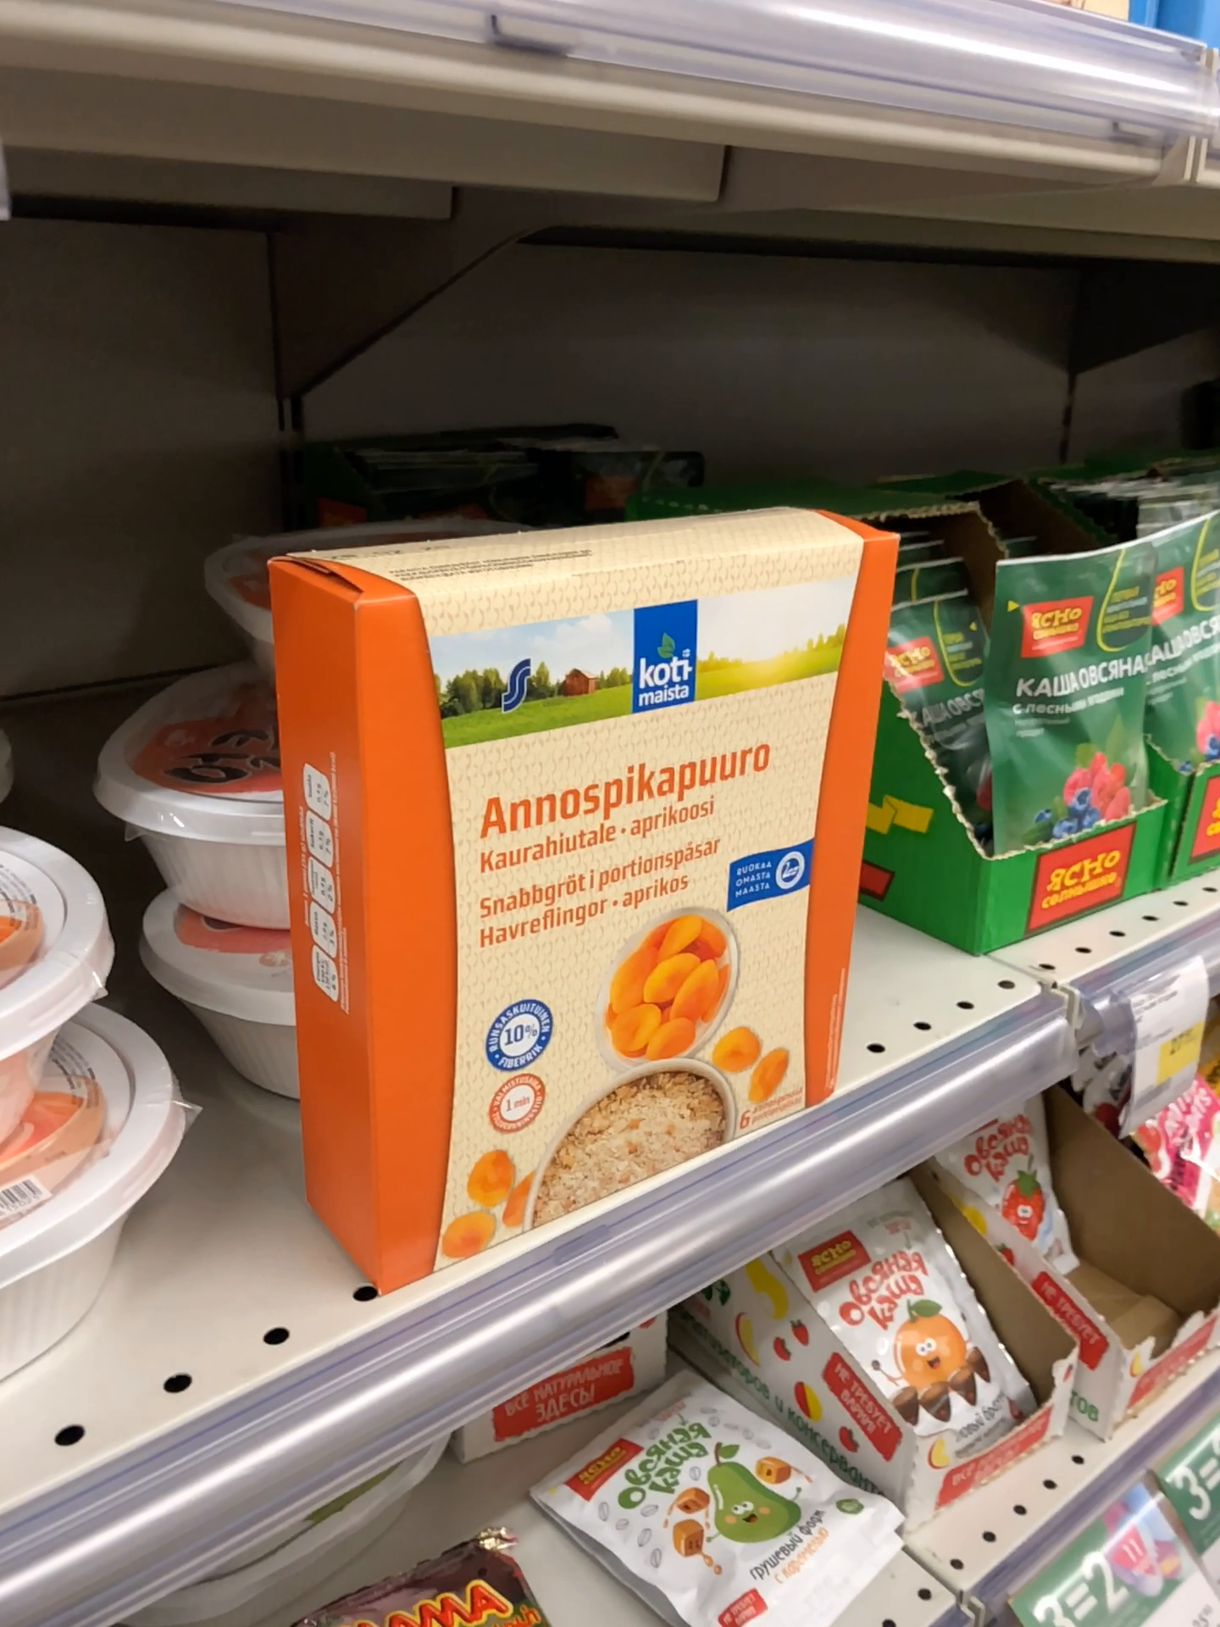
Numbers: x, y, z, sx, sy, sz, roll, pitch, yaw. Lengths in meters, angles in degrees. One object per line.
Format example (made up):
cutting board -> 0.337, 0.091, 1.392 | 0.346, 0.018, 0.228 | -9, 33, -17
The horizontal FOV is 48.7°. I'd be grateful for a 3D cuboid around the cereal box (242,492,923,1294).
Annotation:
cereal box -> -0.003, 0.011, 0.376 | 0.170, 0.179, 0.060 | -13, 25, -33
